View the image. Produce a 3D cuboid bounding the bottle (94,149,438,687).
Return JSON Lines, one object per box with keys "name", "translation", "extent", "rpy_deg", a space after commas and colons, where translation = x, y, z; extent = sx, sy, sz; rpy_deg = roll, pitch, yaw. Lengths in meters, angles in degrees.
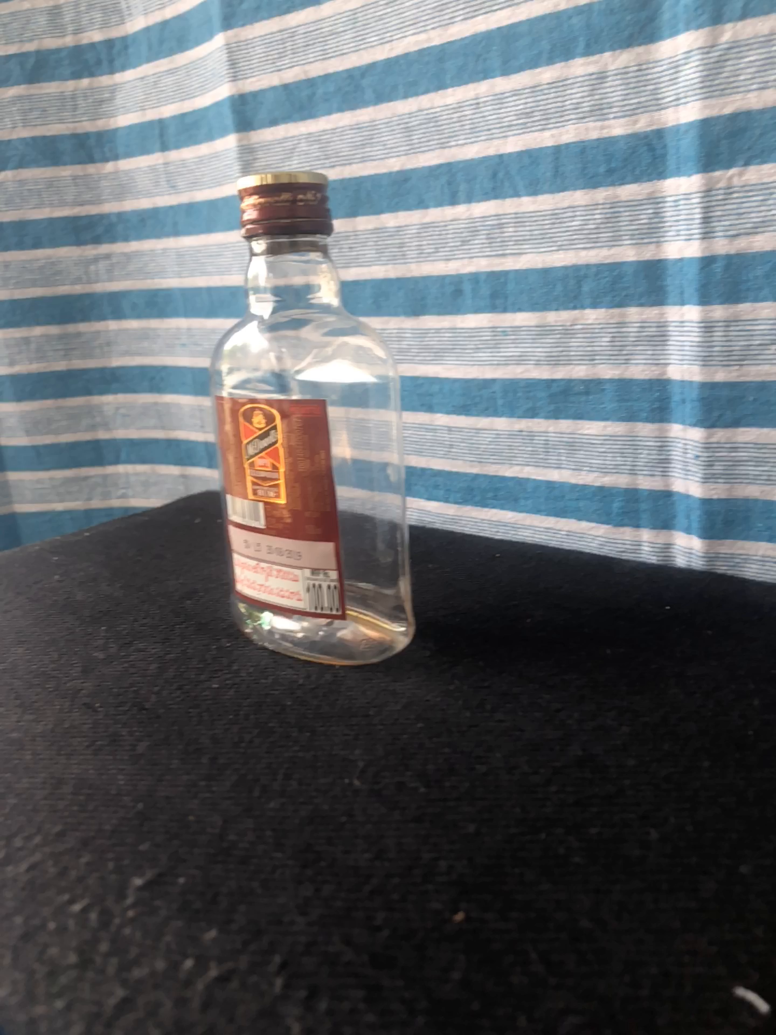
{"name": "bottle", "translation": [-0.033, -0.029, 0.244], "extent": [0.080, 0.130, 0.040], "rpy_deg": [10, 22, 38]}
